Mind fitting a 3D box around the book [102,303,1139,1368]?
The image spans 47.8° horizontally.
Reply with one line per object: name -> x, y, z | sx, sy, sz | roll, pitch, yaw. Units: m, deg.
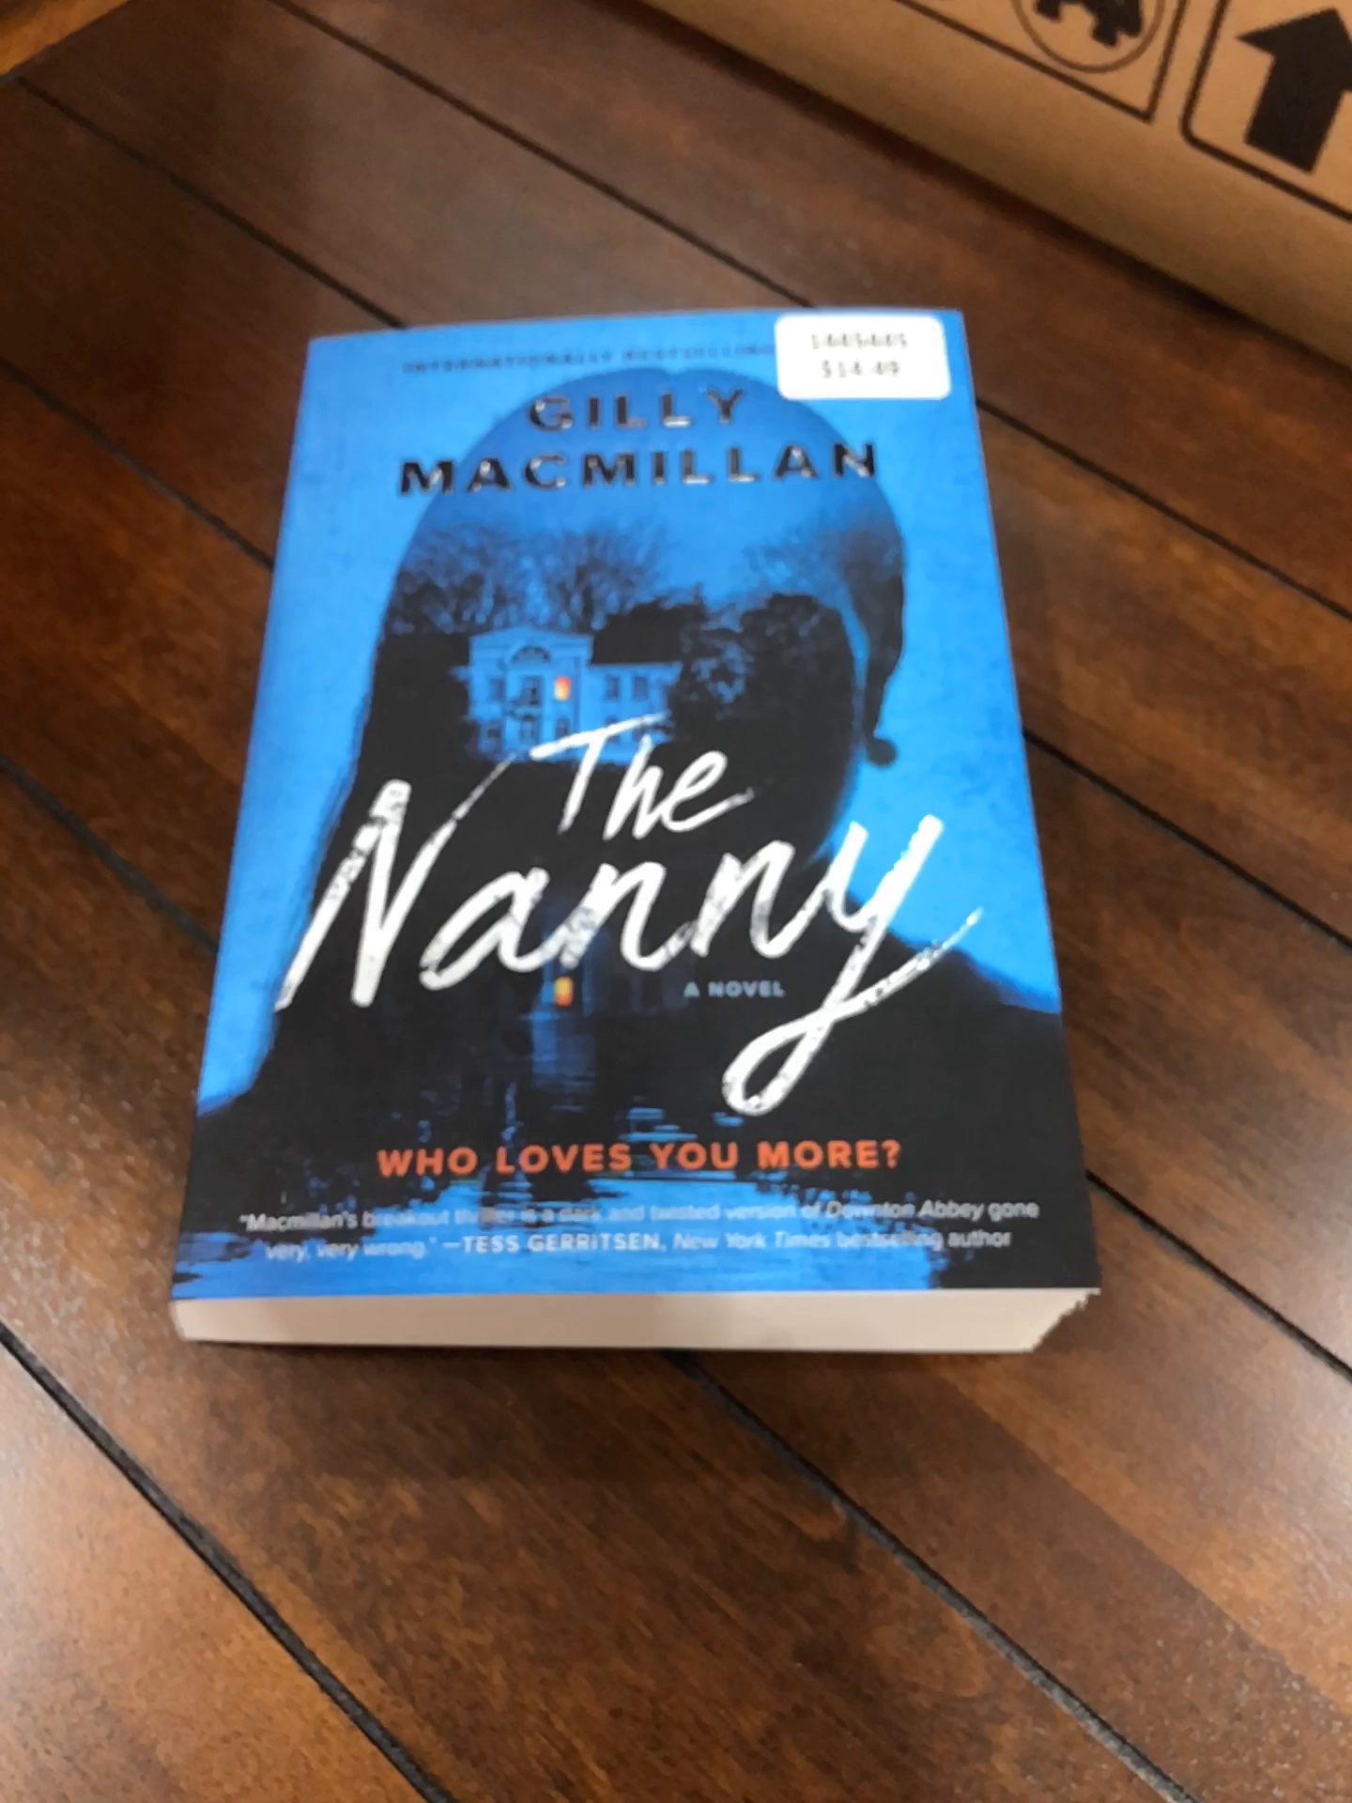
book -> -0.006, -0.027, 0.311 | 0.160, 0.040, 0.230 | -1, 59, 4
